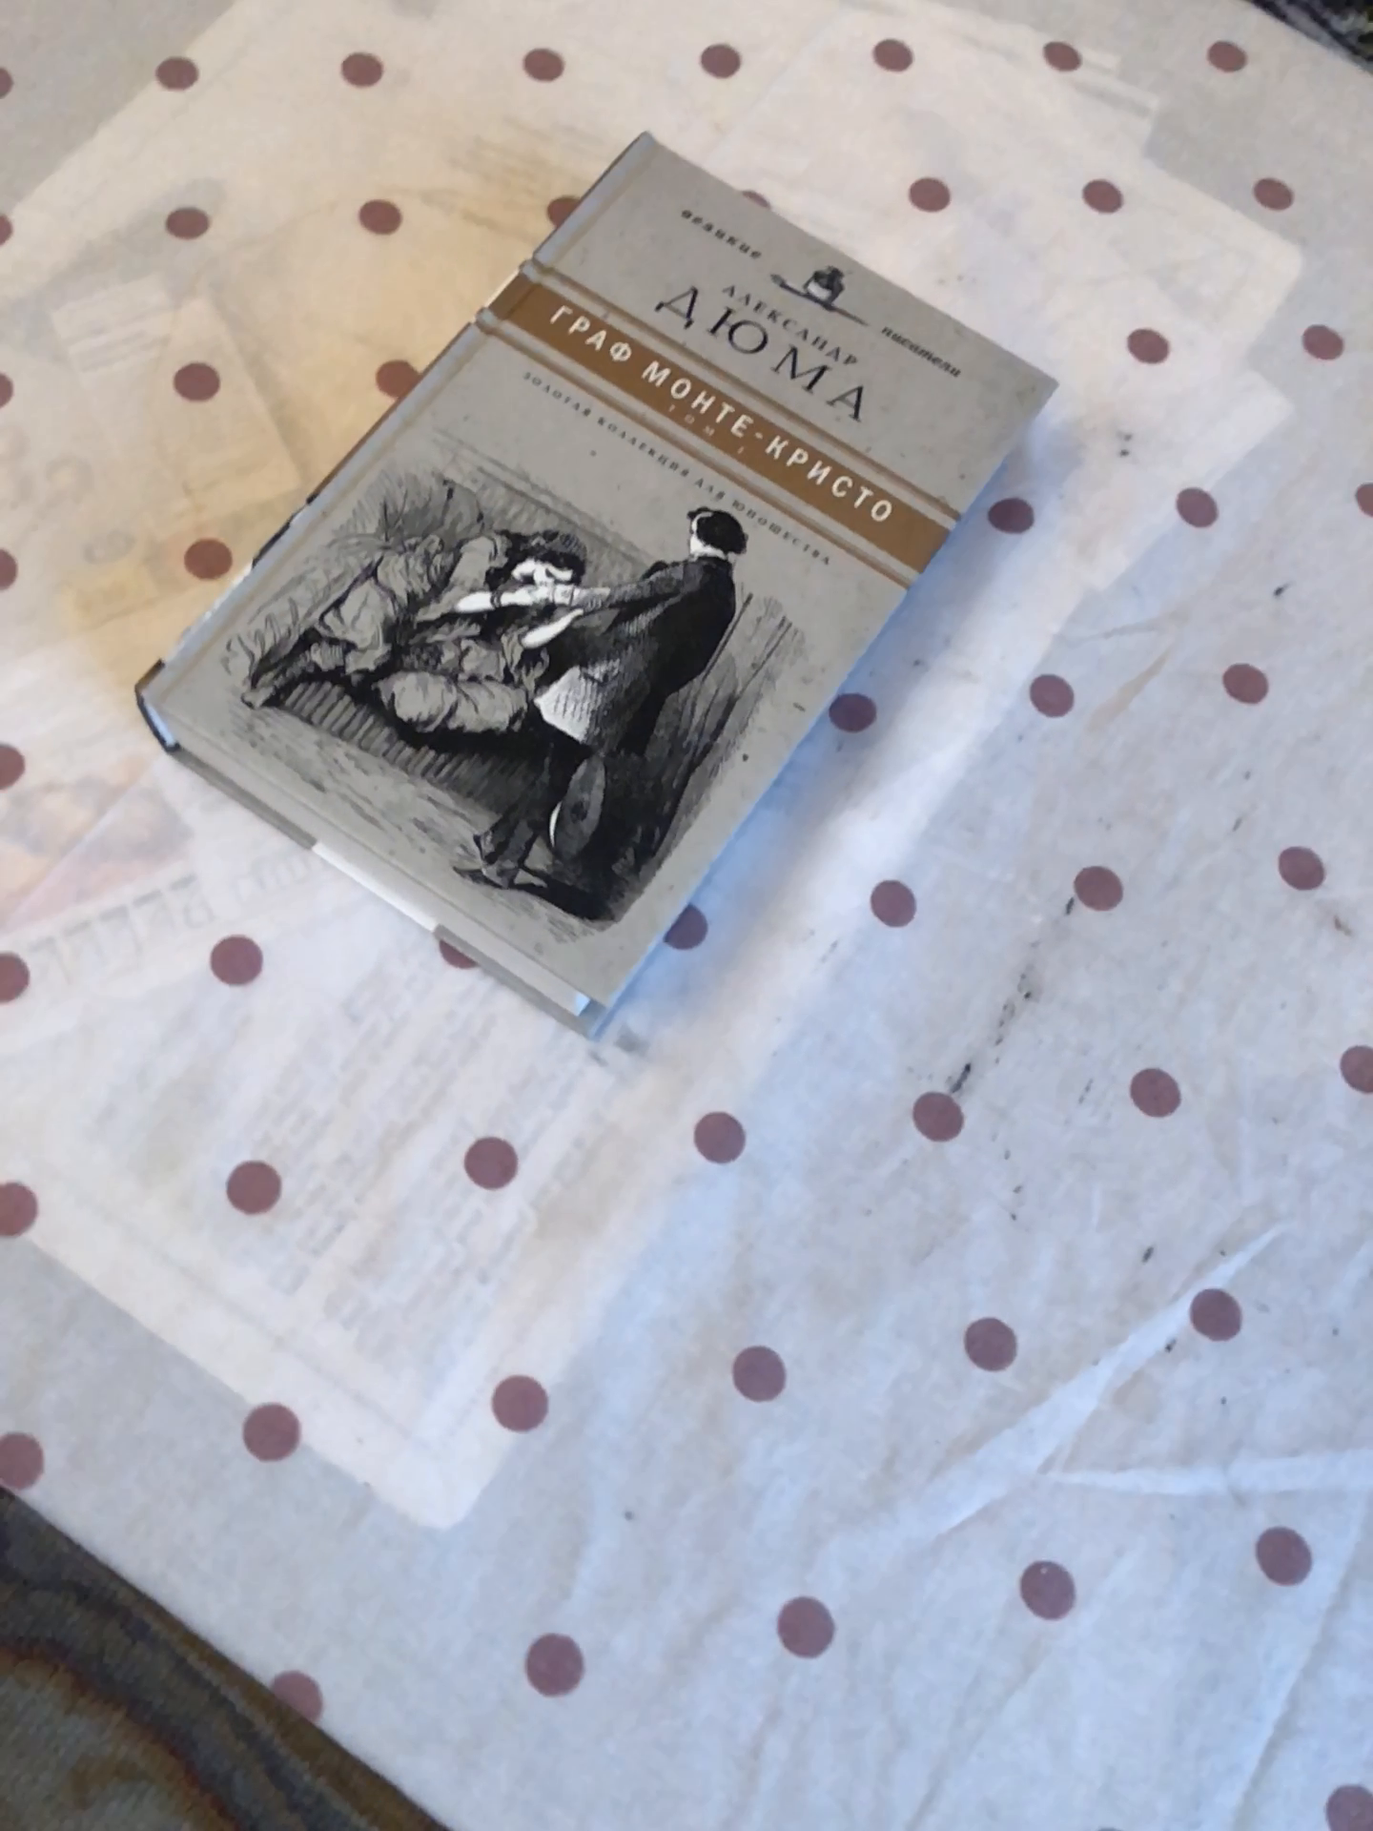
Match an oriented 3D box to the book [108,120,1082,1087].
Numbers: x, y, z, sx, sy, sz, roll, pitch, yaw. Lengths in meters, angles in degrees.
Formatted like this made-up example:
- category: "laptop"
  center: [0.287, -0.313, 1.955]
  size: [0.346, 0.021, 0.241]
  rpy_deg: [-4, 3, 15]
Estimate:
- category: "book"
  center: [-0.016, -0.084, 0.377]
  size: [0.135, 0.040, 0.208]
  rpy_deg: [33, 73, 6]
